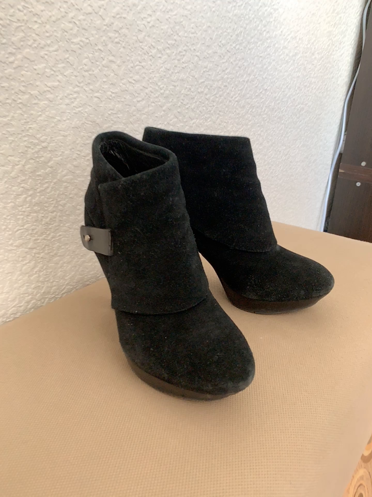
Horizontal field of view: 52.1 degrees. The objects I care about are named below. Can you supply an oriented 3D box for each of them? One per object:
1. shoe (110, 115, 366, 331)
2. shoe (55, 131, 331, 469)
[{"bbox_3d":[0.046,-0.037,0.388,0.218,0.166,0.090,11,27,19],"label":"shoe"},{"bbox_3d":[-0.018,0.011,0.305,0.090,0.166,0.218,-15,30,-30],"label":"shoe"}]
